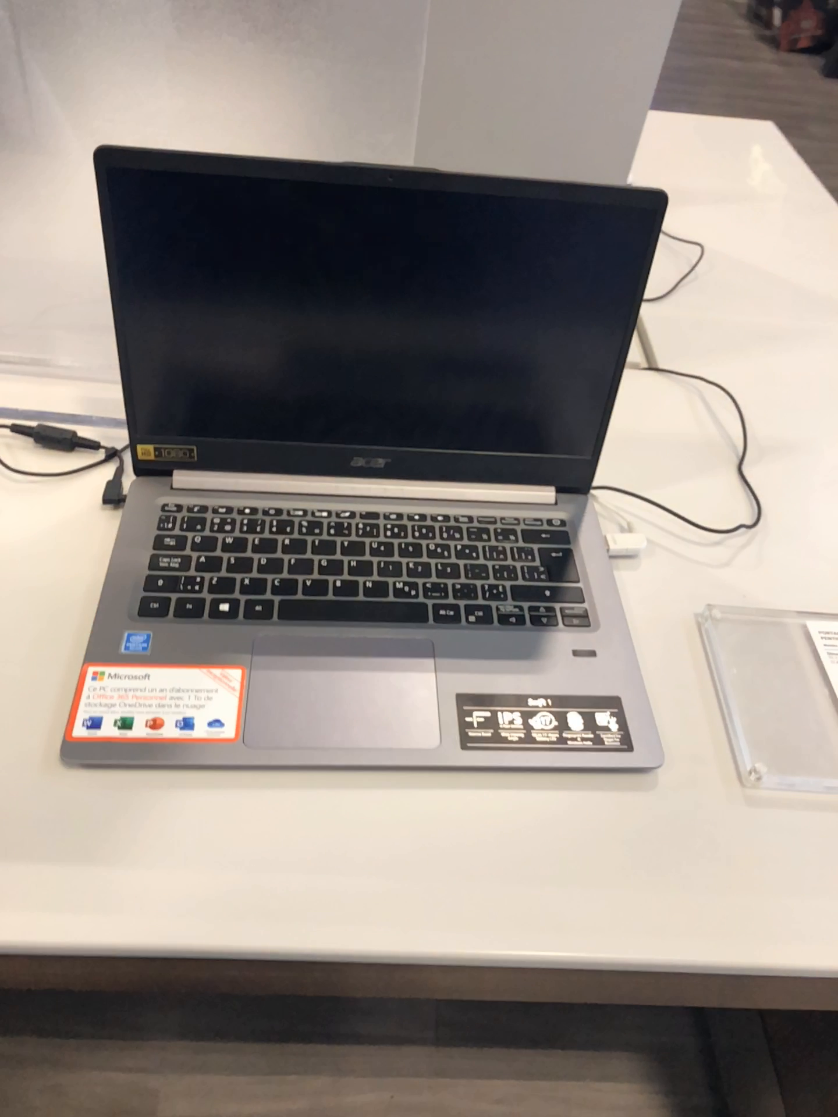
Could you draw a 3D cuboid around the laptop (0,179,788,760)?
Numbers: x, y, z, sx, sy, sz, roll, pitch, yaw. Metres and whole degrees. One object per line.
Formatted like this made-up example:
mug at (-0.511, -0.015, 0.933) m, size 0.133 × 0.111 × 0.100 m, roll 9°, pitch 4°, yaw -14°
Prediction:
laptop at (-0.018, -0.045, 0.503) m, size 0.306 × 0.205 × 0.225 m, roll 2°, pitch 44°, yaw -7°
